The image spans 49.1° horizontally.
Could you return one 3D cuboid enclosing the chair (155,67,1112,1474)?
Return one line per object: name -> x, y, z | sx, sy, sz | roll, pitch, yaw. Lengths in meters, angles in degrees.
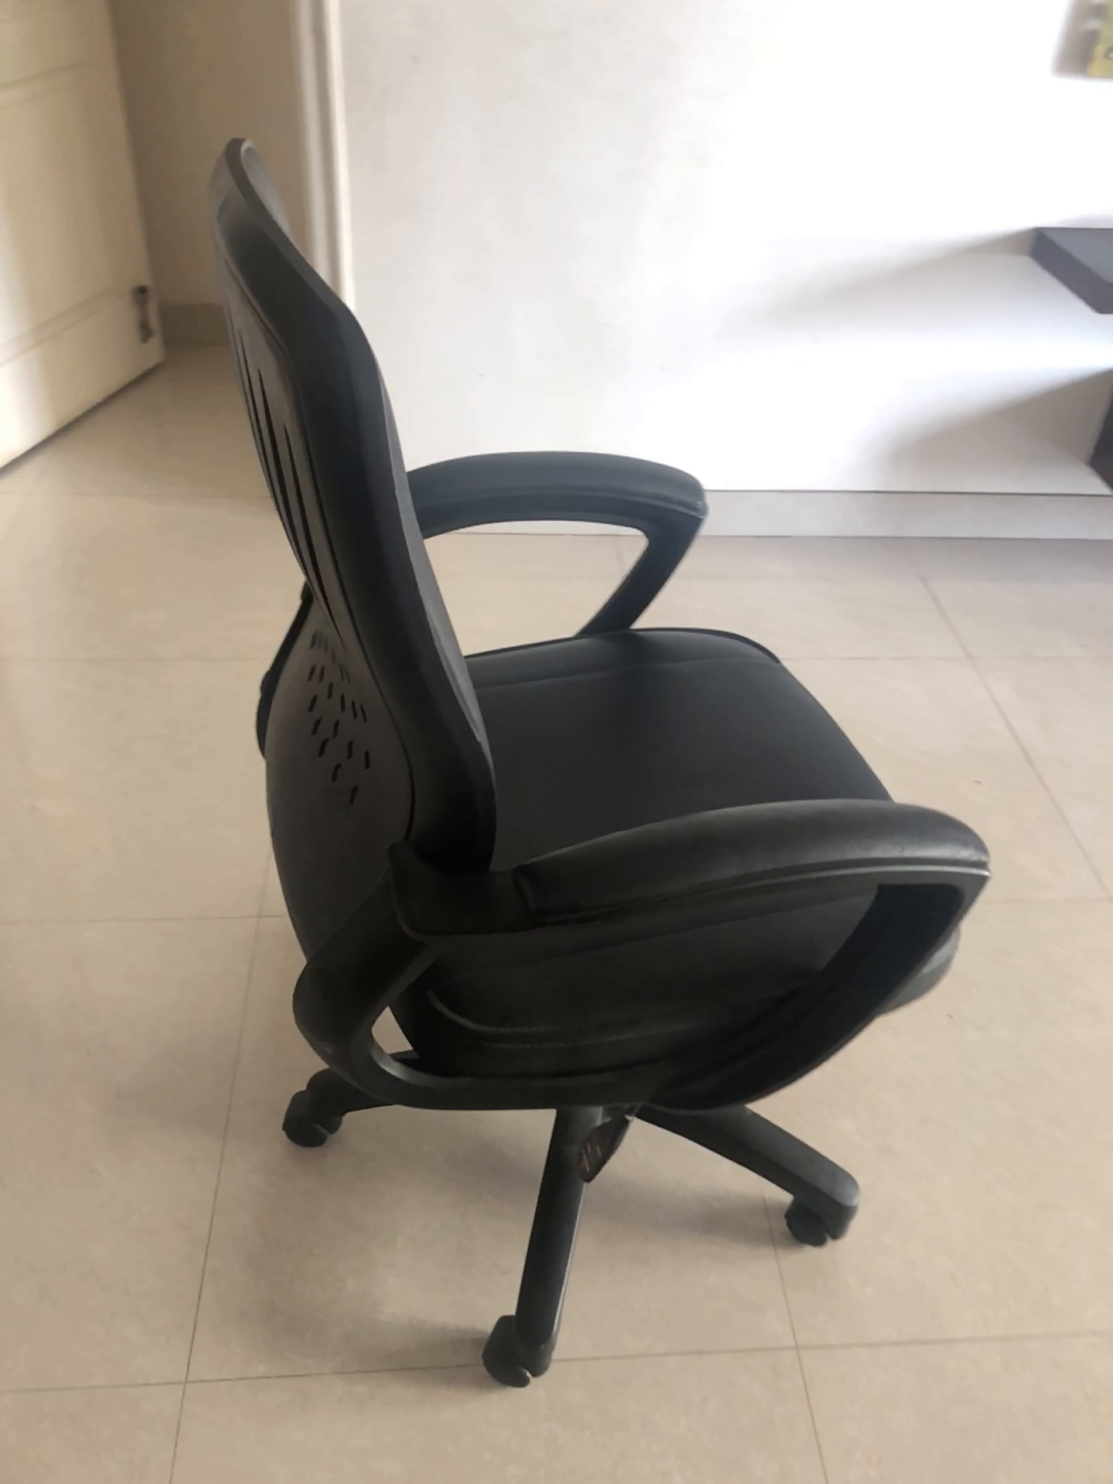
chair -> 0.040, 0.003, 1.093 | 0.630, 0.953, 0.705 | -7, 39, -13
